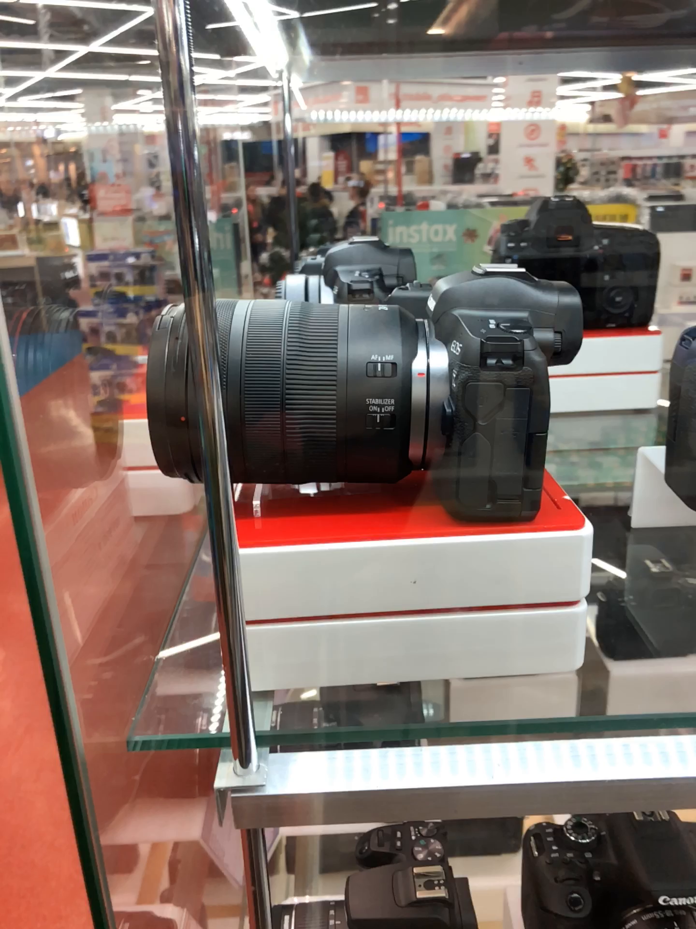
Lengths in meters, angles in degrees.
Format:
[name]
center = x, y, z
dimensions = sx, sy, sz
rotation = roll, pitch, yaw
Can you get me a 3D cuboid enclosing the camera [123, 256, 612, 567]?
[camera]
center = 0.008, -0.035, 0.373
dimensions = 0.183, 0.110, 0.141
rotation = -2, 20, 0
